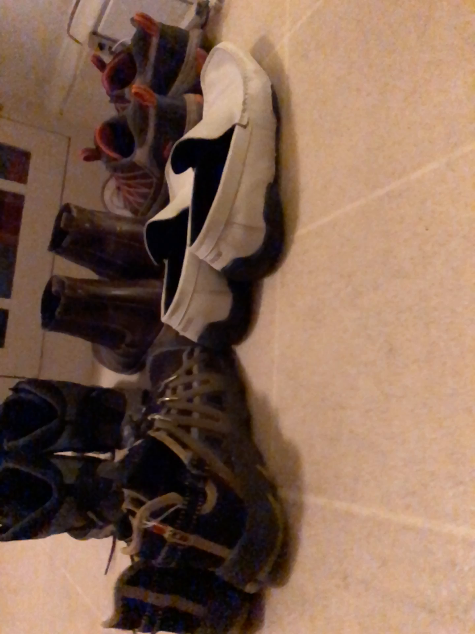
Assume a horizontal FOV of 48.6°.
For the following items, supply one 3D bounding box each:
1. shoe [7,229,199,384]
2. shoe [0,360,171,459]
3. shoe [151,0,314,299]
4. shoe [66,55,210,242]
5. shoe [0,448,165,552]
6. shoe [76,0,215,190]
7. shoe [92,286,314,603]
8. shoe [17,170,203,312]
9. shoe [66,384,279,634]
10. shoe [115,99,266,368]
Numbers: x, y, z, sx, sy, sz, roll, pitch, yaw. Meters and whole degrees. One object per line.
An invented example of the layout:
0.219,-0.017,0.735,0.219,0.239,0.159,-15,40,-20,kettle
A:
-0.216,0.008,0.792,0.324,0.192,0.110,-30,55,56,shoe
-0.258,0.153,0.816,0.324,0.192,0.110,-22,62,59,shoe
-0.018,-0.186,0.557,0.110,0.113,0.304,-42,46,50,shoe
-0.165,-0.231,0.803,0.314,0.113,0.110,-25,59,58,shoe
-0.259,0.266,0.764,0.324,0.192,0.110,-32,53,55,shoe
-0.160,-0.334,0.840,0.314,0.113,0.110,-25,59,58,shoe
-0.058,0.104,0.526,0.110,0.123,0.294,-64,31,28,shoe
-0.214,-0.095,0.820,0.324,0.192,0.110,-12,71,61,shoe
-0.091,0.199,0.549,0.294,0.123,0.110,49,123,57,shoe
-0.069,-0.105,0.623,0.110,0.113,0.304,-51,39,43,shoe
